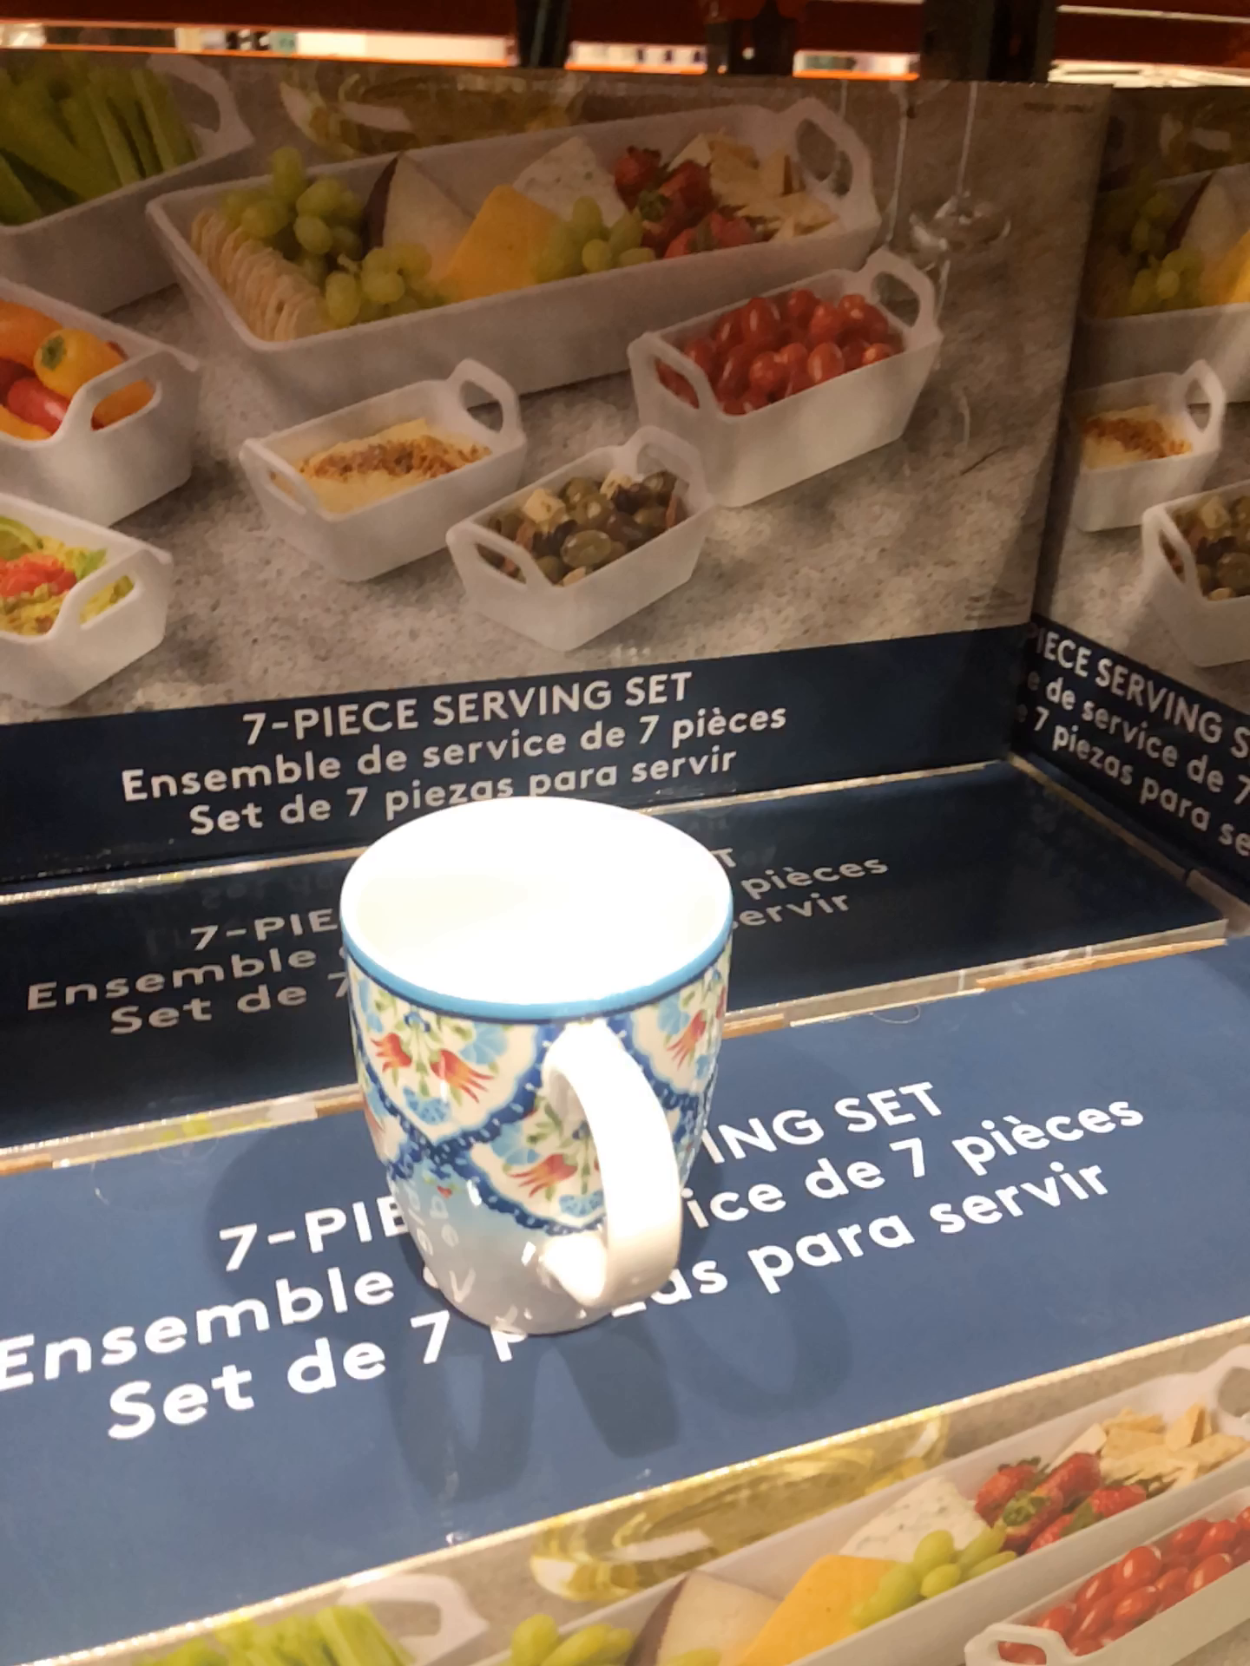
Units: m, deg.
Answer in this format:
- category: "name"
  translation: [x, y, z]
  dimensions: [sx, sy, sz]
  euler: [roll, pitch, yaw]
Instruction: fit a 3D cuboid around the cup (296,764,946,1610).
- category: "cup"
  translation: [-0.012, 0.061, 0.298]
  dimensions: [0.089, 0.096, 0.137]
  euler: [-8, 28, -18]
